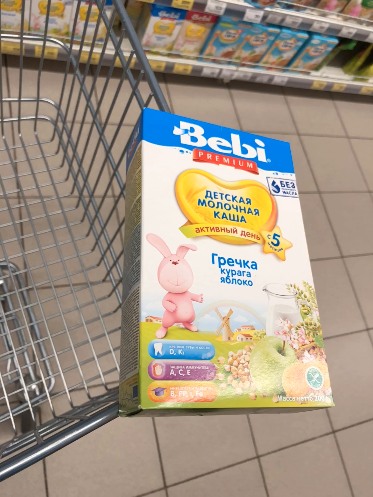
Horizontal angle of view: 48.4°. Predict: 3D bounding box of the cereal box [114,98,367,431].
[{"bbox_3d":[0.029,0.009,0.288,0.140,0.050,0.210,8,63,-20],"label":"cereal box"}]
